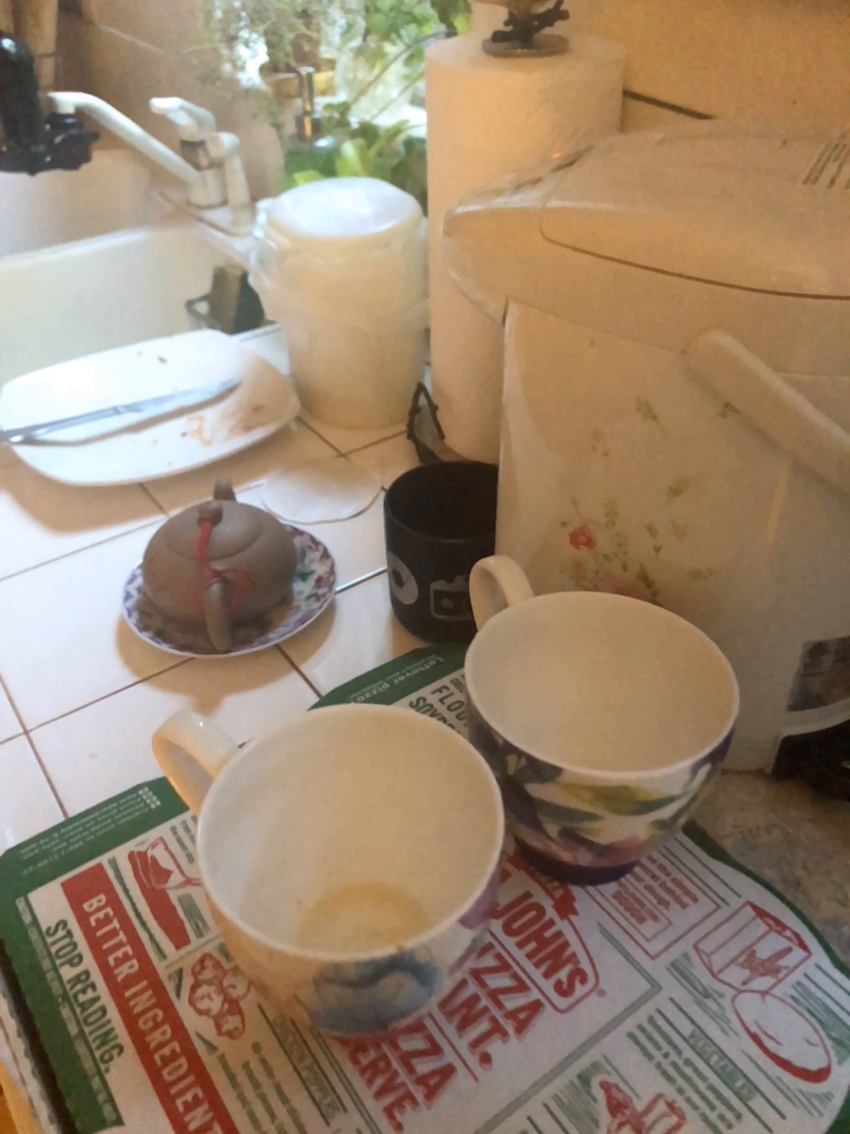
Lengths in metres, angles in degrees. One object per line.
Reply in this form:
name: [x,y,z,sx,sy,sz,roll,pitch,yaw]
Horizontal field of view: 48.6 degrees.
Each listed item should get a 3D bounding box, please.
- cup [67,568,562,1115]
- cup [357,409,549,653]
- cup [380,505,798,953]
cup: [-0.044,0.090,0.357,0.101,0.079,0.160,-29,46,-30]
cup: [0.014,-0.028,0.609,0.090,0.079,0.141,-8,39,-8]
cup: [0.060,0.059,0.413,0.100,0.079,0.161,-17,41,-19]
